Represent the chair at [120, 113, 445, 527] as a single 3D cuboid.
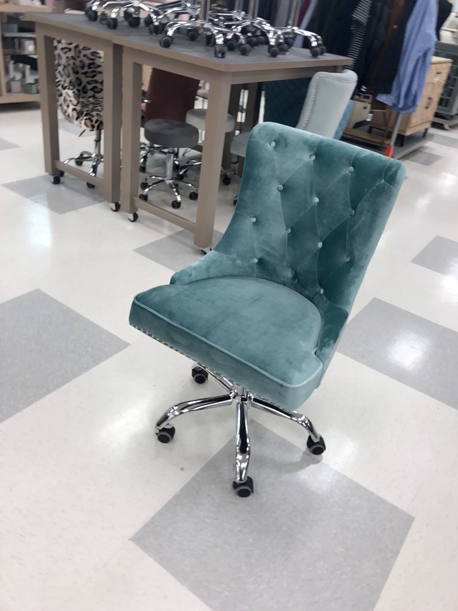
[{"bbox_3d":[0.109,-0.002,1.522,0.598,0.934,0.607,27,36,28],"label":"chair"}]
